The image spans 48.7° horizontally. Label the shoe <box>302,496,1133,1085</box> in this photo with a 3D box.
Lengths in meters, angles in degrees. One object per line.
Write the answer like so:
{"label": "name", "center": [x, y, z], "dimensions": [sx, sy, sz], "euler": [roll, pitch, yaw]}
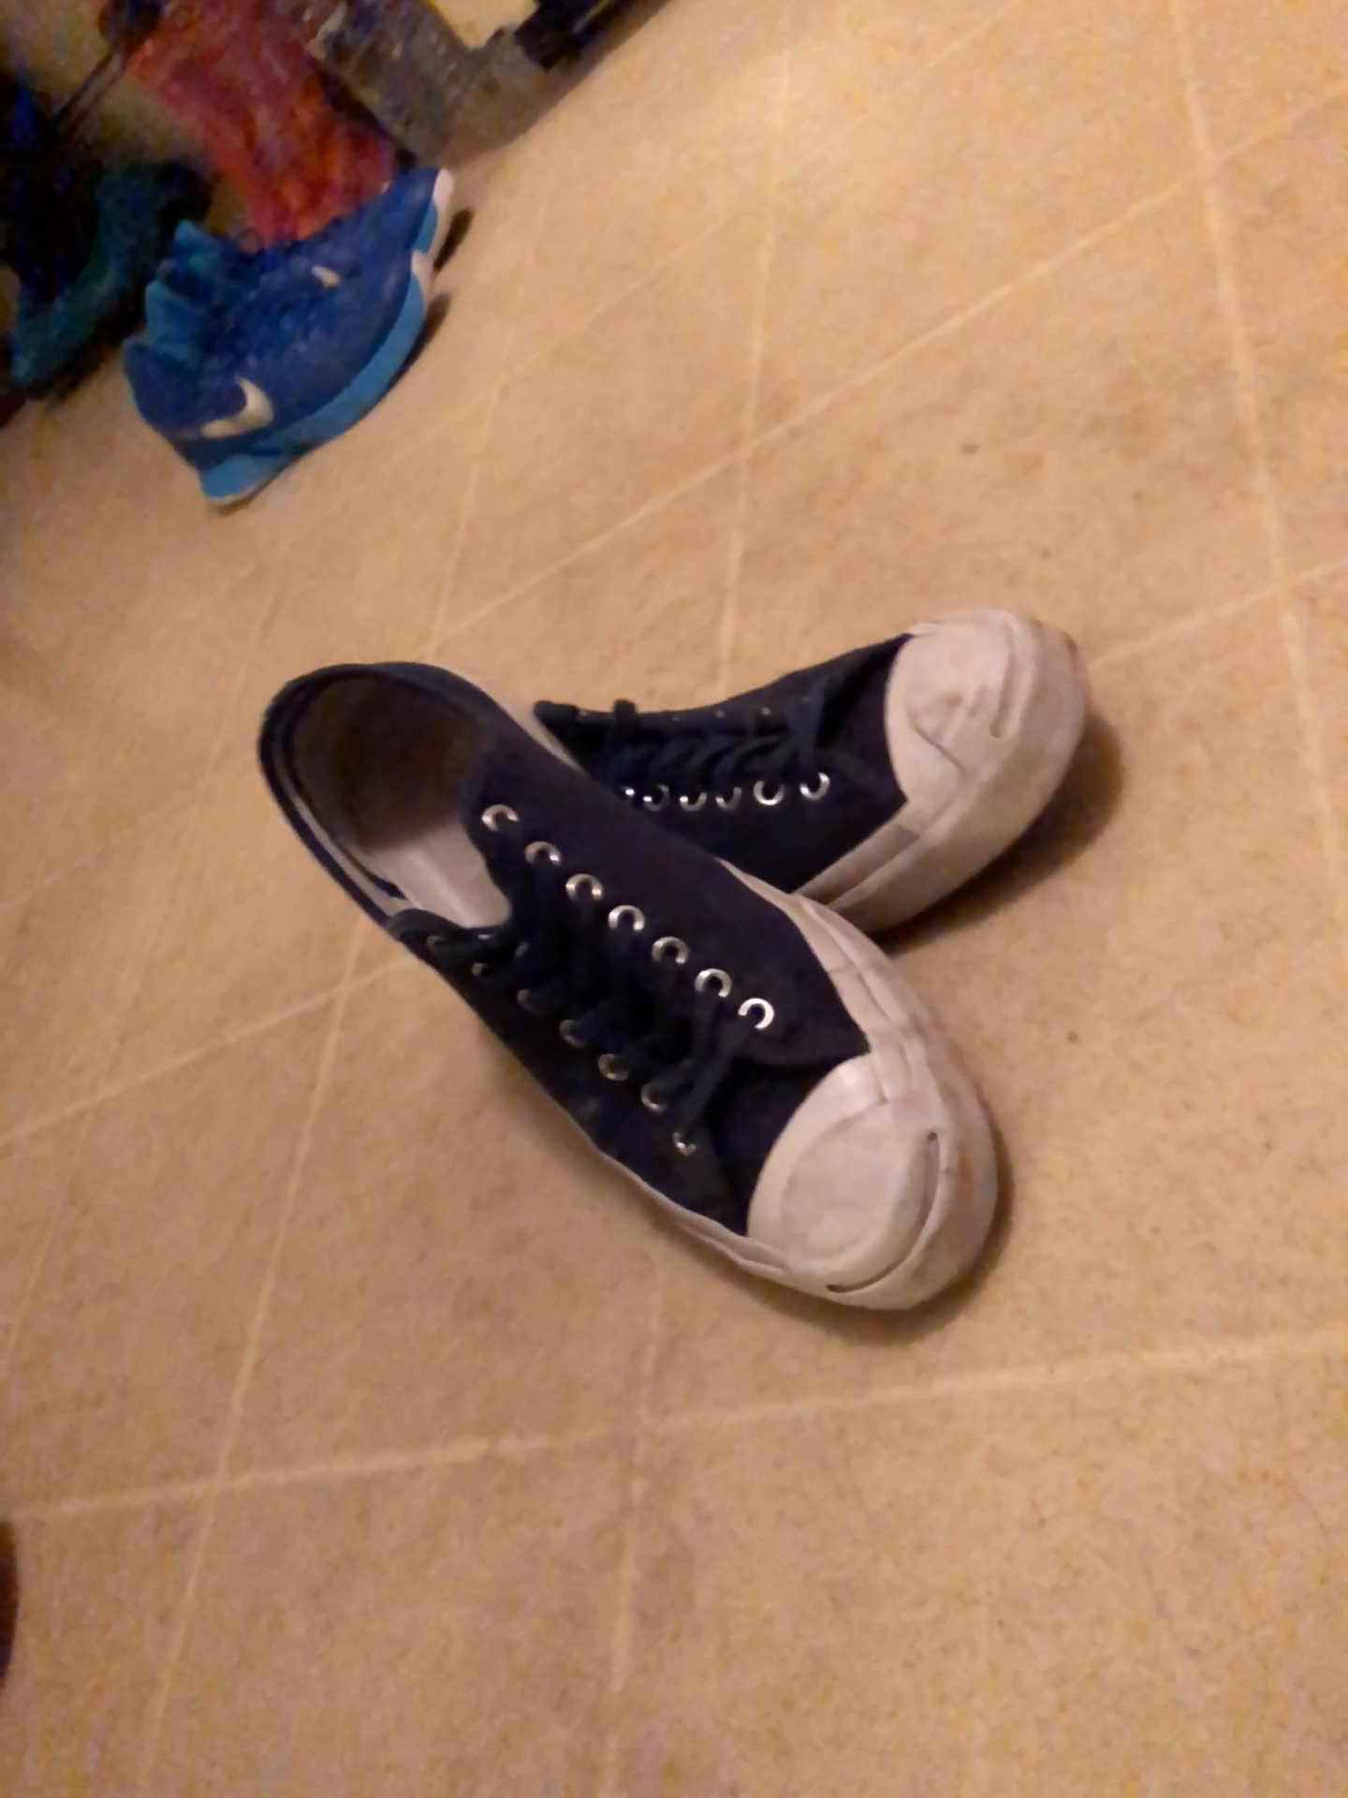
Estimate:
{"label": "shoe", "center": [0.005, -0.025, 0.544], "dimensions": [0.291, 0.080, 0.110], "euler": [-17, 54, 30]}

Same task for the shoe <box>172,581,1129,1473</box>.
{"label": "shoe", "center": [-0.023, 0.019, 0.462], "dimensions": [0.291, 0.100, 0.100], "euler": [39, 112, 30]}
